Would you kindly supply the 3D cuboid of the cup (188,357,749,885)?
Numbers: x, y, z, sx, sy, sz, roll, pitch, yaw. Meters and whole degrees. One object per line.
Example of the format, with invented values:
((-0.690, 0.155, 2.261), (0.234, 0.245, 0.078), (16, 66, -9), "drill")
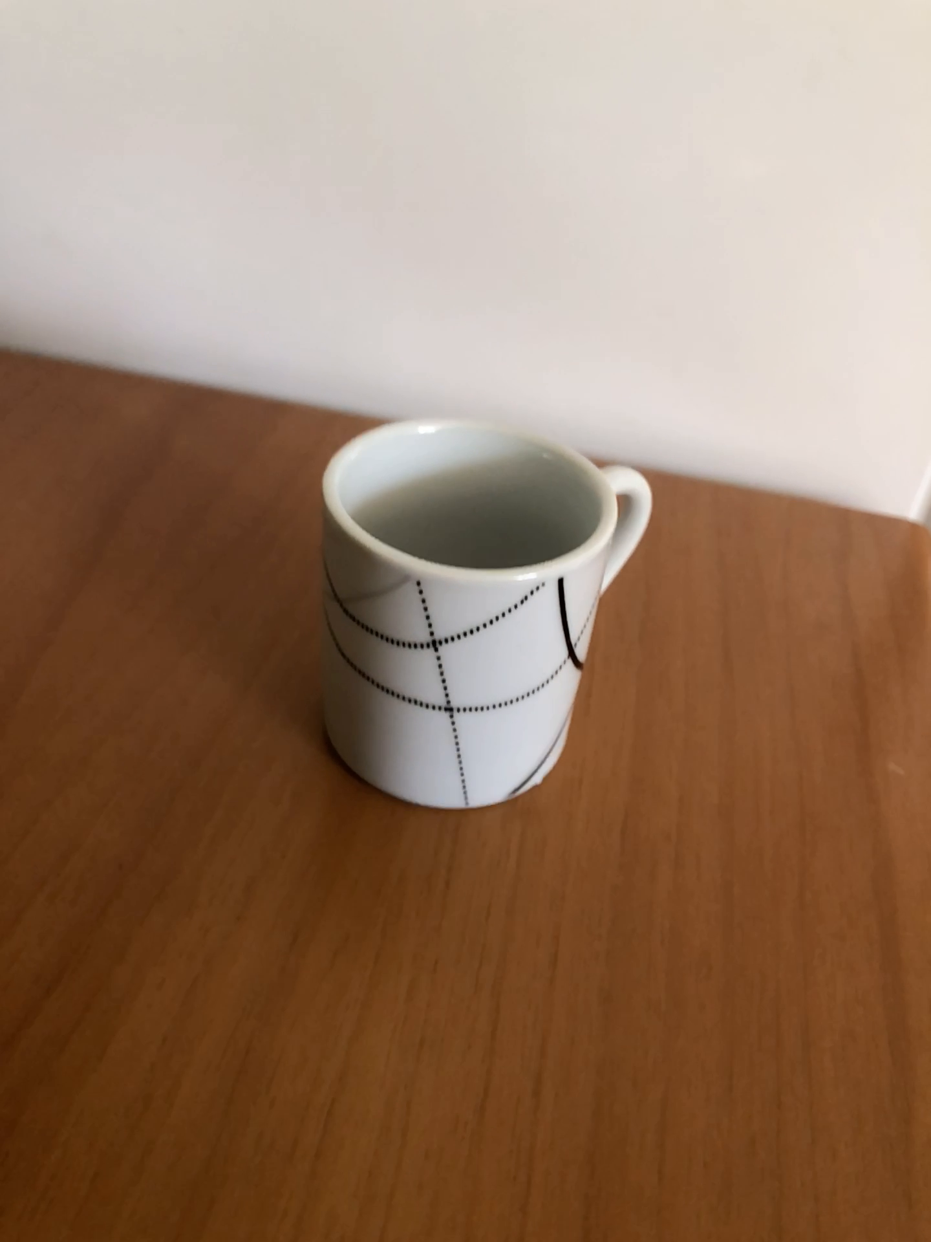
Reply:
((-0.001, -0.005, 0.187), (0.070, 0.050, 0.060), (-23, 47, -34), "cup")
